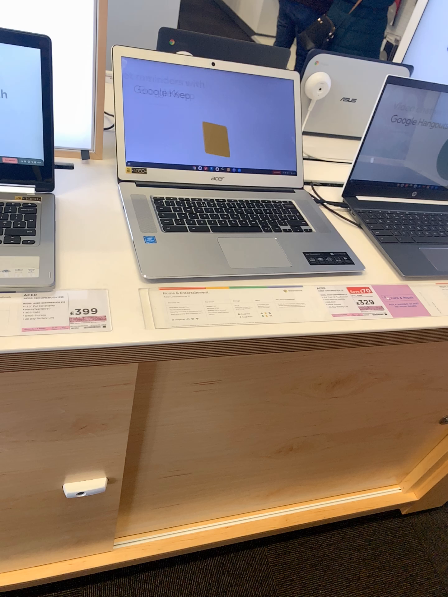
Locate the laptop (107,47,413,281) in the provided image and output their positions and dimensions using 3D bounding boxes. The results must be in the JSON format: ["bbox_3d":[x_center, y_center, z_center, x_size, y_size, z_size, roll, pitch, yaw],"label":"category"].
[{"bbox_3d":[0.019,-0.244,0.791,0.375,0.168,0.433,-3,44,-21],"label":"laptop"}]
